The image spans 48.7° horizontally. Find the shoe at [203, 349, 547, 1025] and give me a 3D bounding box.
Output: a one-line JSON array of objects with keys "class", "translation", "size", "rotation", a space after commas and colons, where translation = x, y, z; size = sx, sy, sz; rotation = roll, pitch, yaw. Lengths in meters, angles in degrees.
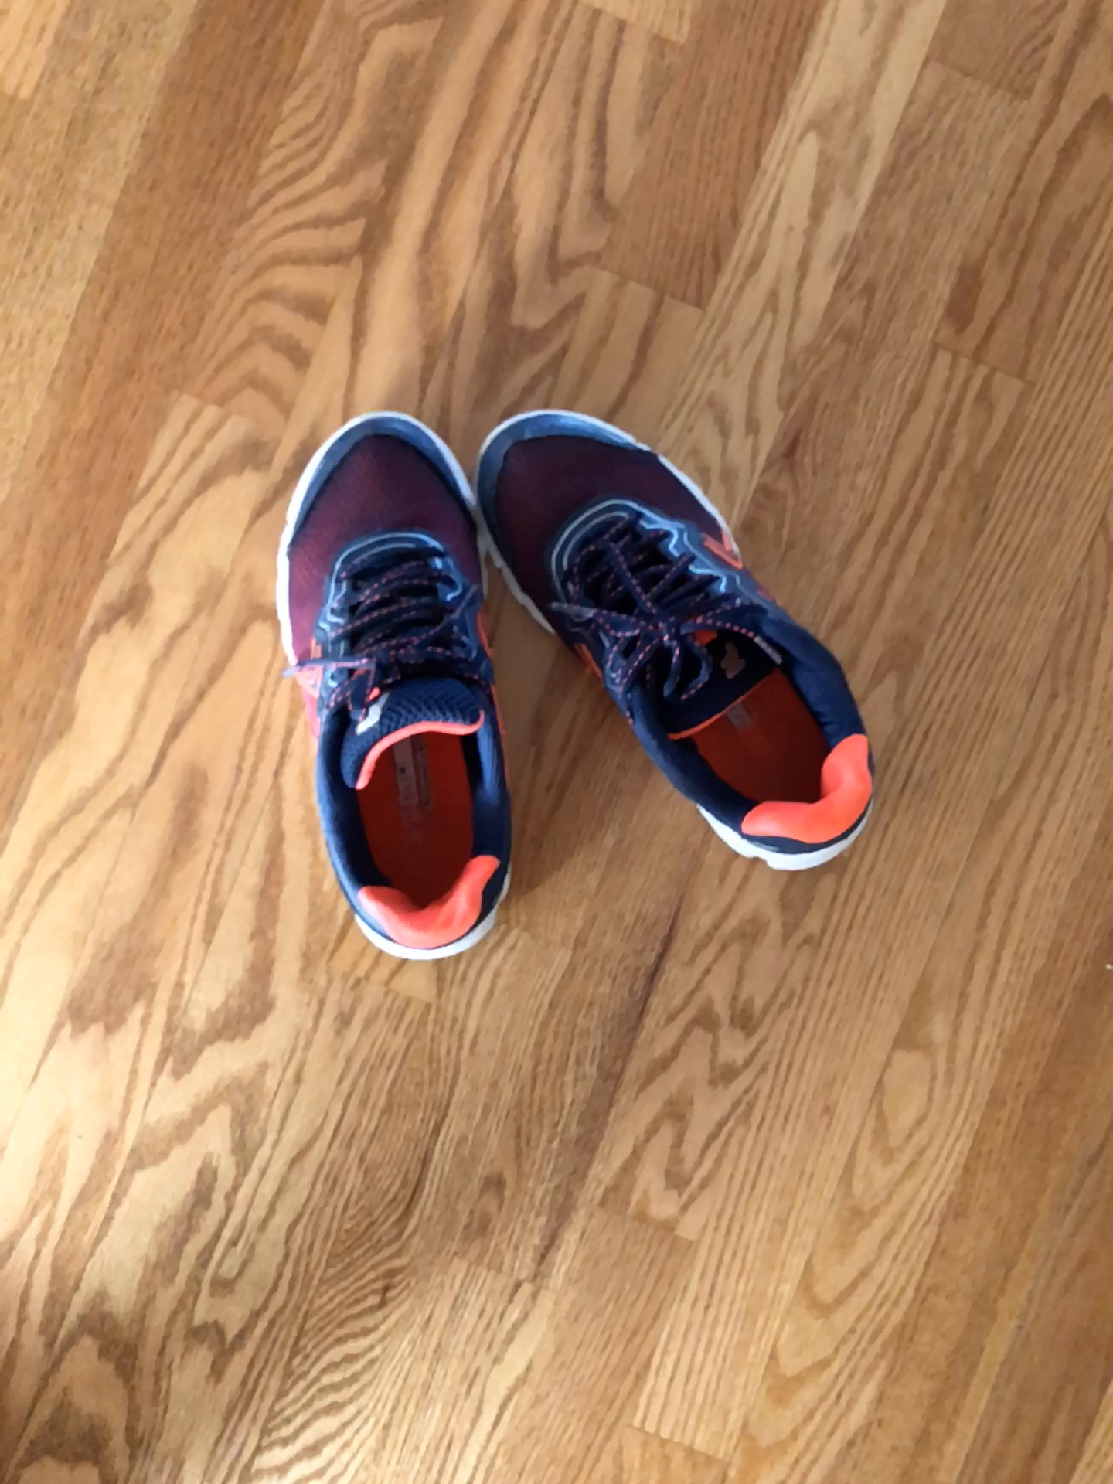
[{"class": "shoe", "translation": [-0.077, -0.024, 0.567], "size": [0.108, 0.110, 0.270], "rotation": [-8, 91, -3]}]

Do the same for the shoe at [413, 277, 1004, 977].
[{"class": "shoe", "translation": [0.063, -0.048, 0.573], "size": [0.116, 0.110, 0.277], "rotation": [-34, 92, -2]}]
